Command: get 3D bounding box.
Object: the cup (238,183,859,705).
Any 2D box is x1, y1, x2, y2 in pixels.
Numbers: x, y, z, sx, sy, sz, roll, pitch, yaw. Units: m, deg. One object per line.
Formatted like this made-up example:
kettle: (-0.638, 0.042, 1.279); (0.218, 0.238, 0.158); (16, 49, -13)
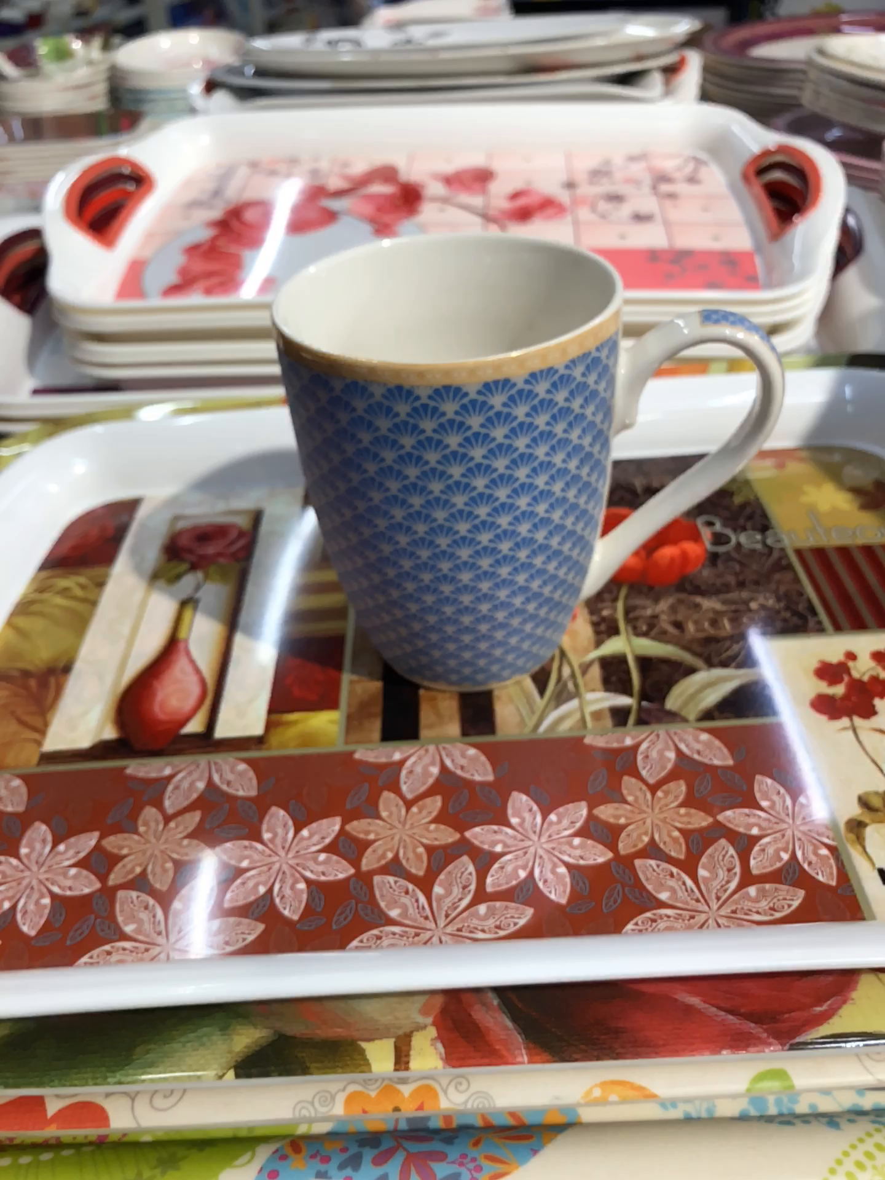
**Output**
cup: (0.021, -0.039, 0.253); (0.120, 0.099, 0.081); (-3, 34, -1)
